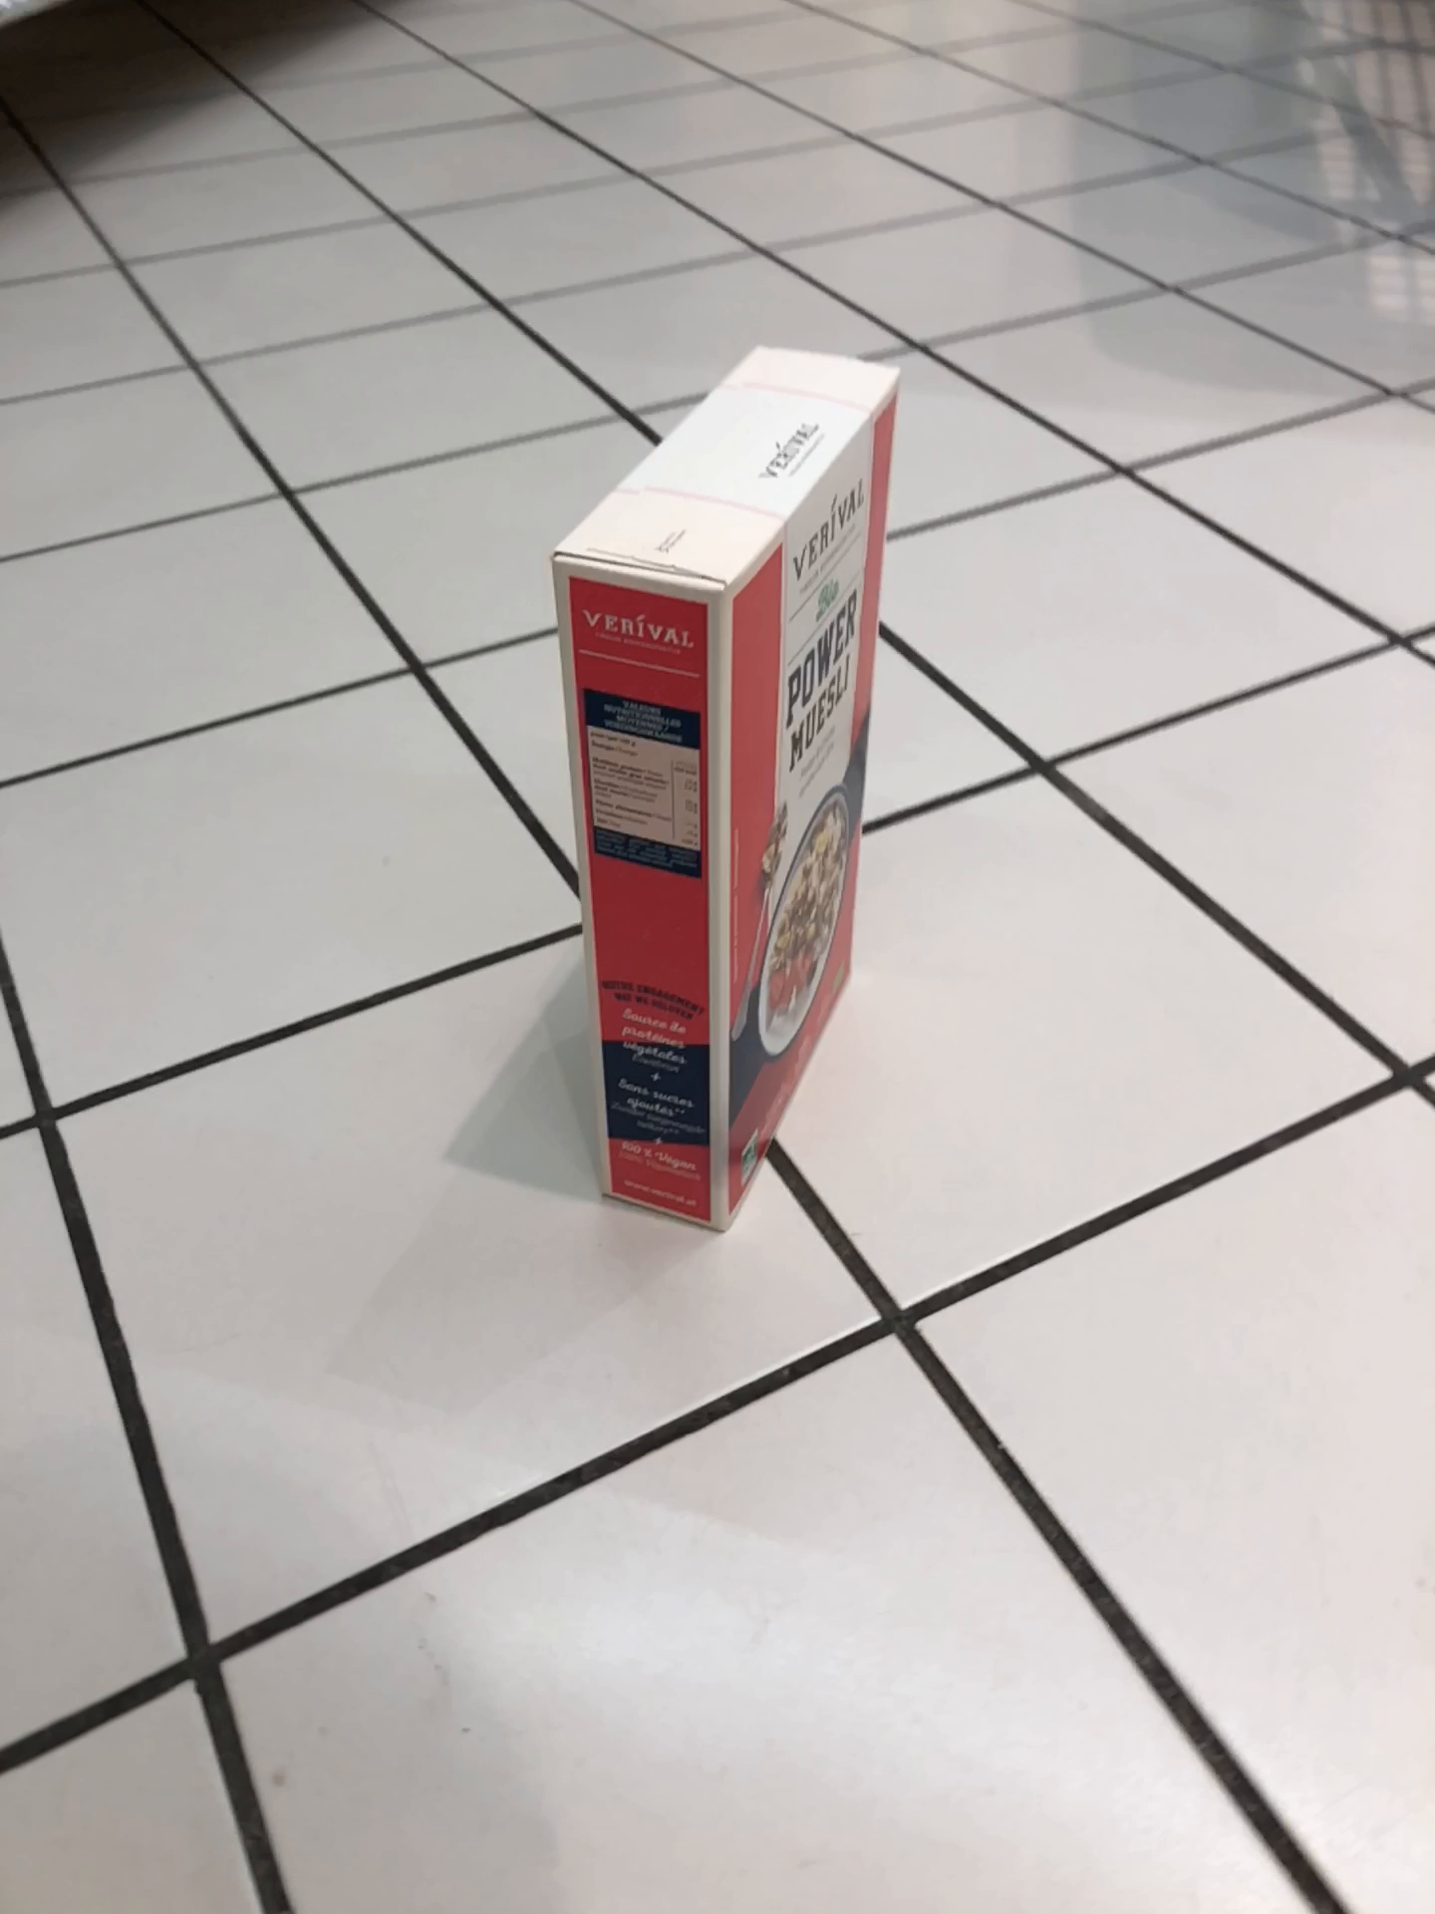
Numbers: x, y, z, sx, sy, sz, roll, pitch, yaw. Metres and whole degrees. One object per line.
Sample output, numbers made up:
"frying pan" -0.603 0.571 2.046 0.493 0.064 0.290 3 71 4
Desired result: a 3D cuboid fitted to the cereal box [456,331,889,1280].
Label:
"cereal box" -0.004 -0.038 0.444 0.050 0.219 0.141 15 44 17
